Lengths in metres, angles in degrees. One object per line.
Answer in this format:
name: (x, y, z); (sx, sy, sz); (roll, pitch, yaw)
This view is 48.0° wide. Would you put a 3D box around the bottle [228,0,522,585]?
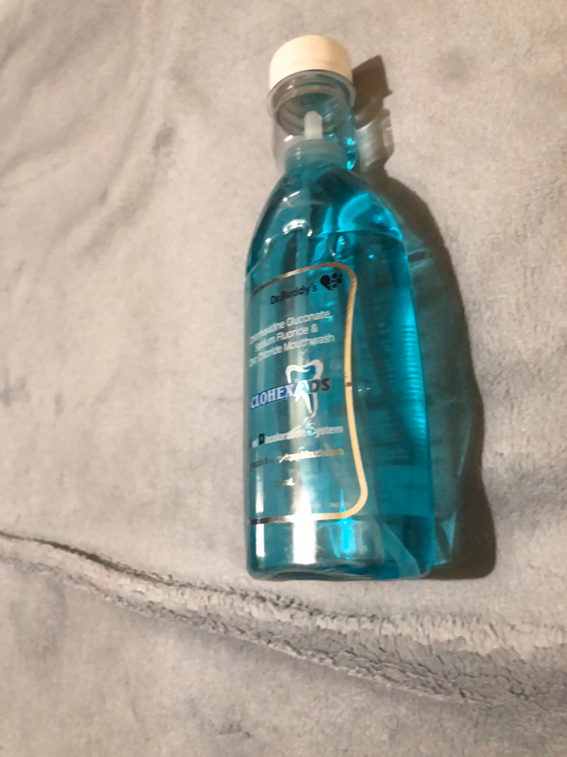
bottle: (0.023, -0.041, 0.217); (0.070, 0.040, 0.210); (-16, 70, 38)
